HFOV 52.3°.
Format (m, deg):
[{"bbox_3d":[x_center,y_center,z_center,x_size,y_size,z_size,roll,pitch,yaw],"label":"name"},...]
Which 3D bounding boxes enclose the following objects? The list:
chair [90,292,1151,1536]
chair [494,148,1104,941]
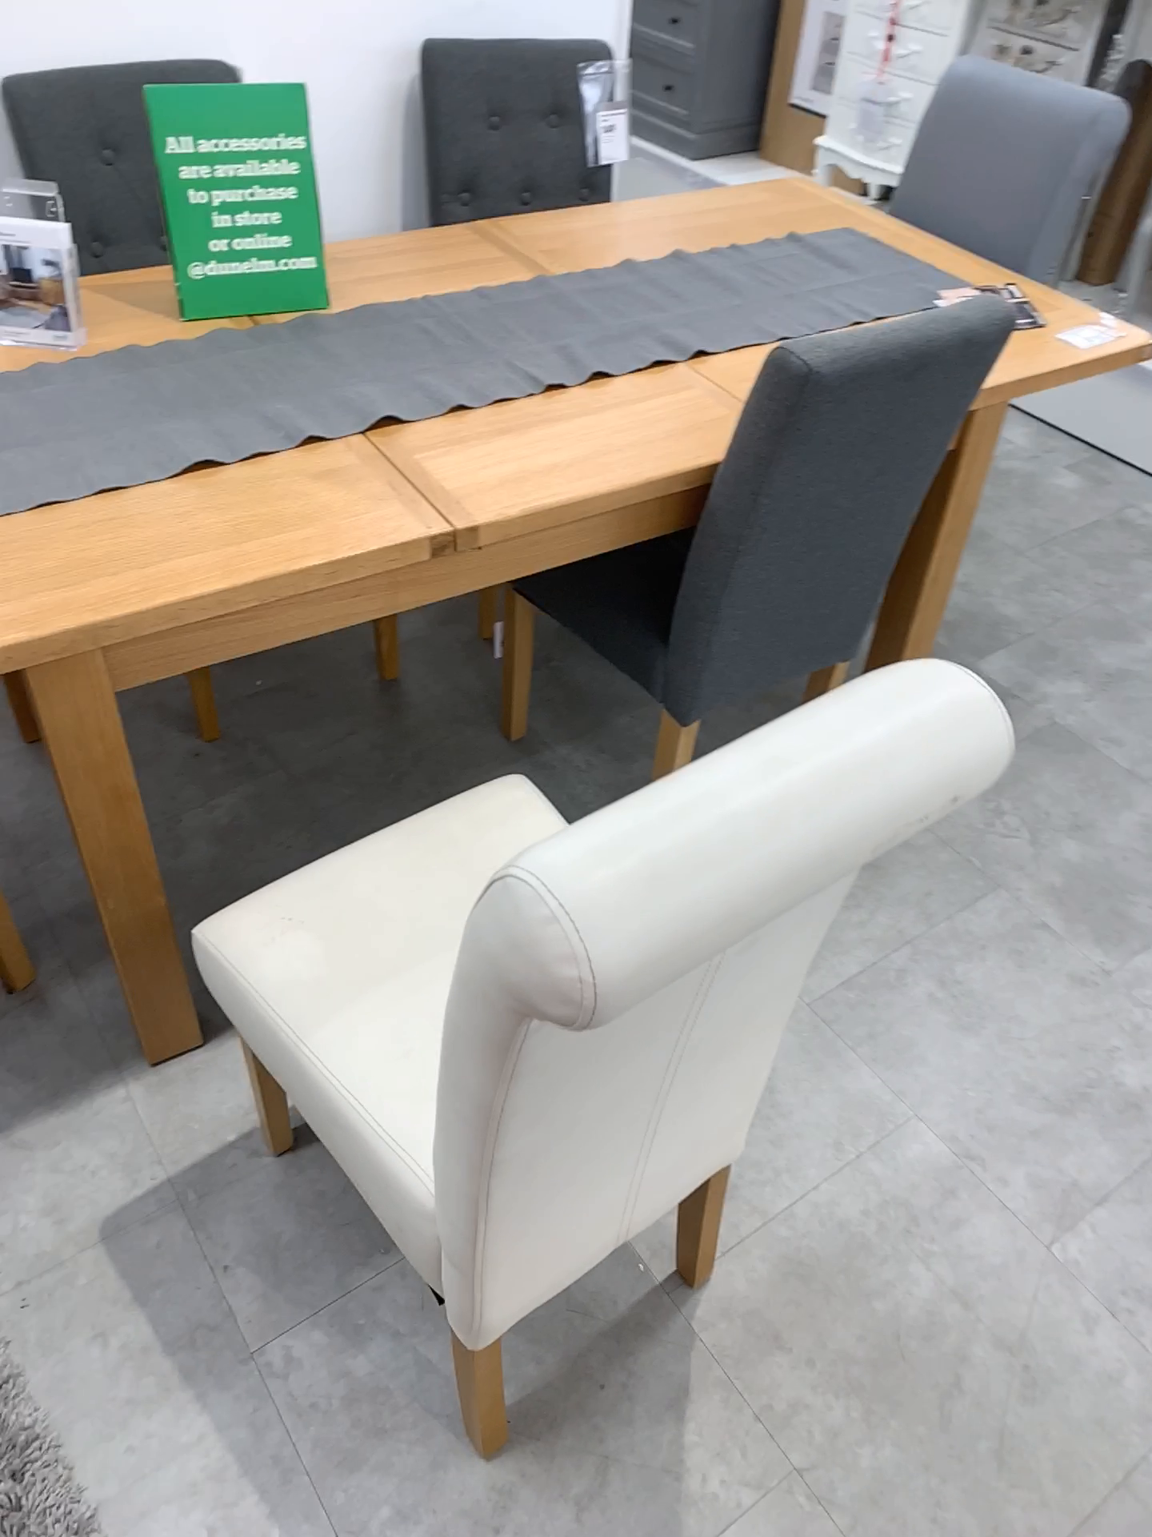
[{"bbox_3d":[0.001,0.159,1.129,0.515,0.935,0.595,-26,50,-29],"label":"chair"},{"bbox_3d":[0.238,-0.329,1.756,0.485,0.905,0.585,-23,48,-27],"label":"chair"}]
